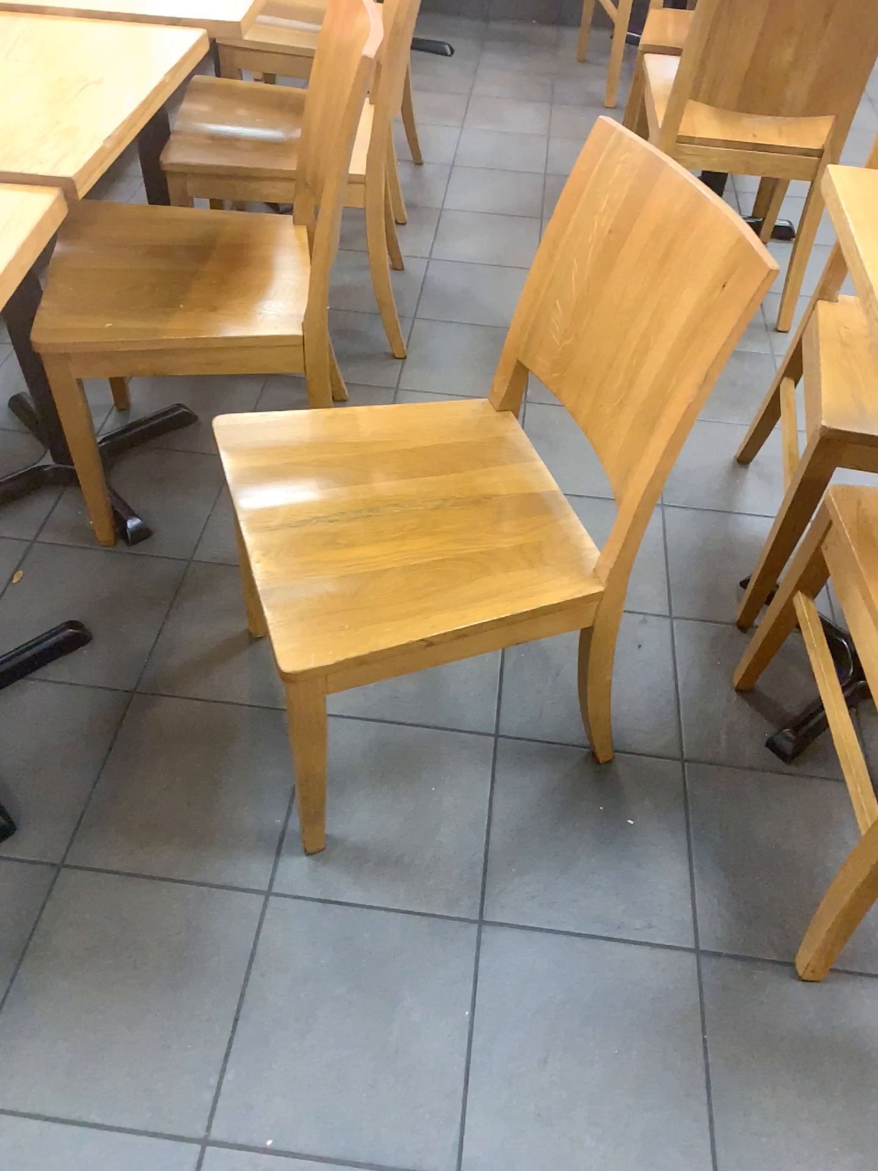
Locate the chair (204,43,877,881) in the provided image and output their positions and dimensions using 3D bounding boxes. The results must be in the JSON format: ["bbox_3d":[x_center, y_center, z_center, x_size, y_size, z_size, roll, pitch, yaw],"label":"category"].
[{"bbox_3d":[0.073,-0.126,1.179,0.611,0.891,0.514,-10,49,-18],"label":"chair"}]
